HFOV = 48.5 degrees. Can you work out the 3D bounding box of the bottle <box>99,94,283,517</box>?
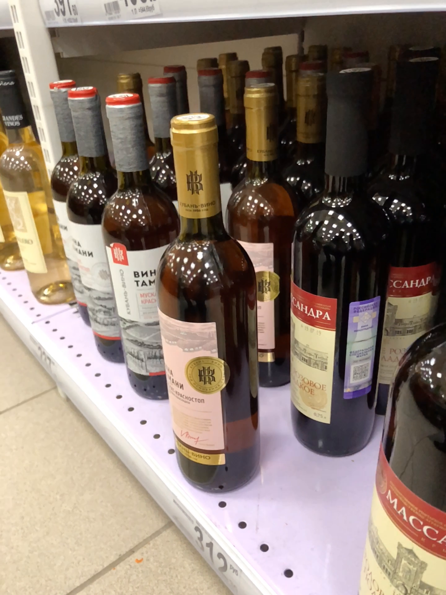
[{"bbox_3d":[-0.010,0.016,0.356,0.080,0.290,0.070,21,38,37],"label":"bottle"}]
